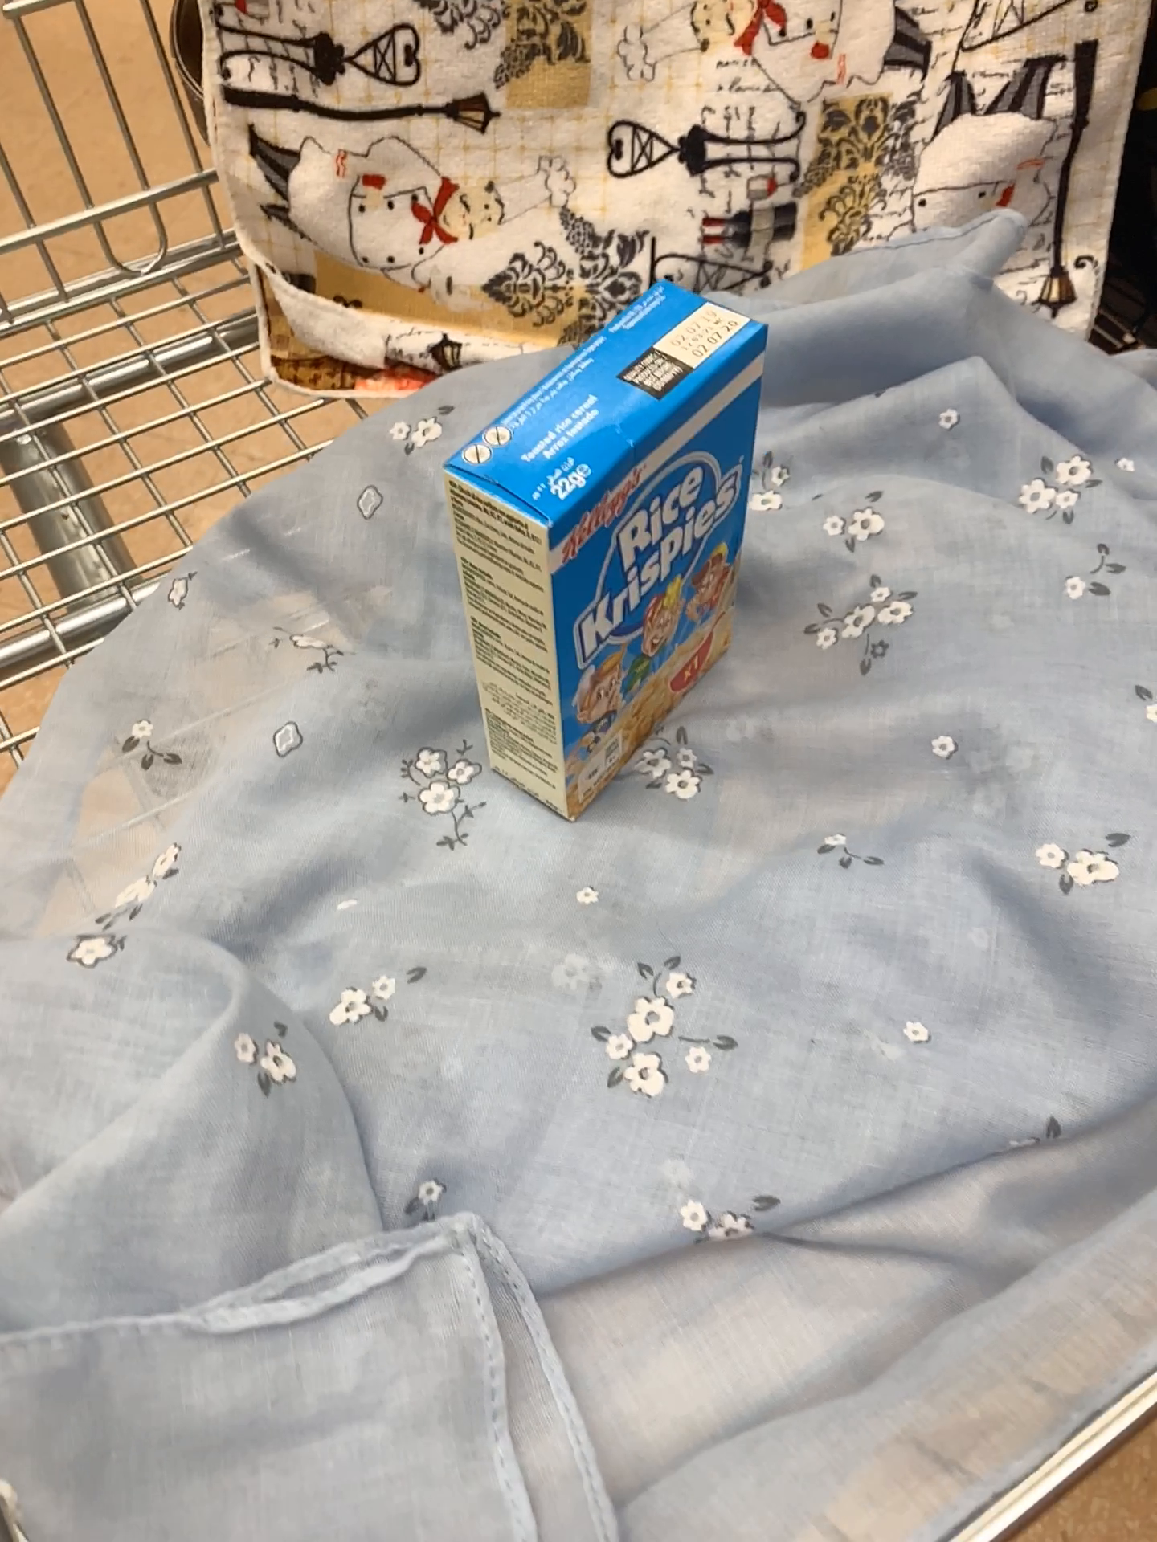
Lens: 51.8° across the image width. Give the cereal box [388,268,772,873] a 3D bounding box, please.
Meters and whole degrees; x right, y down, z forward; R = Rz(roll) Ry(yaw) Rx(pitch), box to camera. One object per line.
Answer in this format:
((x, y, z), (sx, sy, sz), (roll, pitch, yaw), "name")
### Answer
((0.003, -0.050, 0.342), (0.040, 0.139, 0.100), (31, 62, 18), "cereal box")
